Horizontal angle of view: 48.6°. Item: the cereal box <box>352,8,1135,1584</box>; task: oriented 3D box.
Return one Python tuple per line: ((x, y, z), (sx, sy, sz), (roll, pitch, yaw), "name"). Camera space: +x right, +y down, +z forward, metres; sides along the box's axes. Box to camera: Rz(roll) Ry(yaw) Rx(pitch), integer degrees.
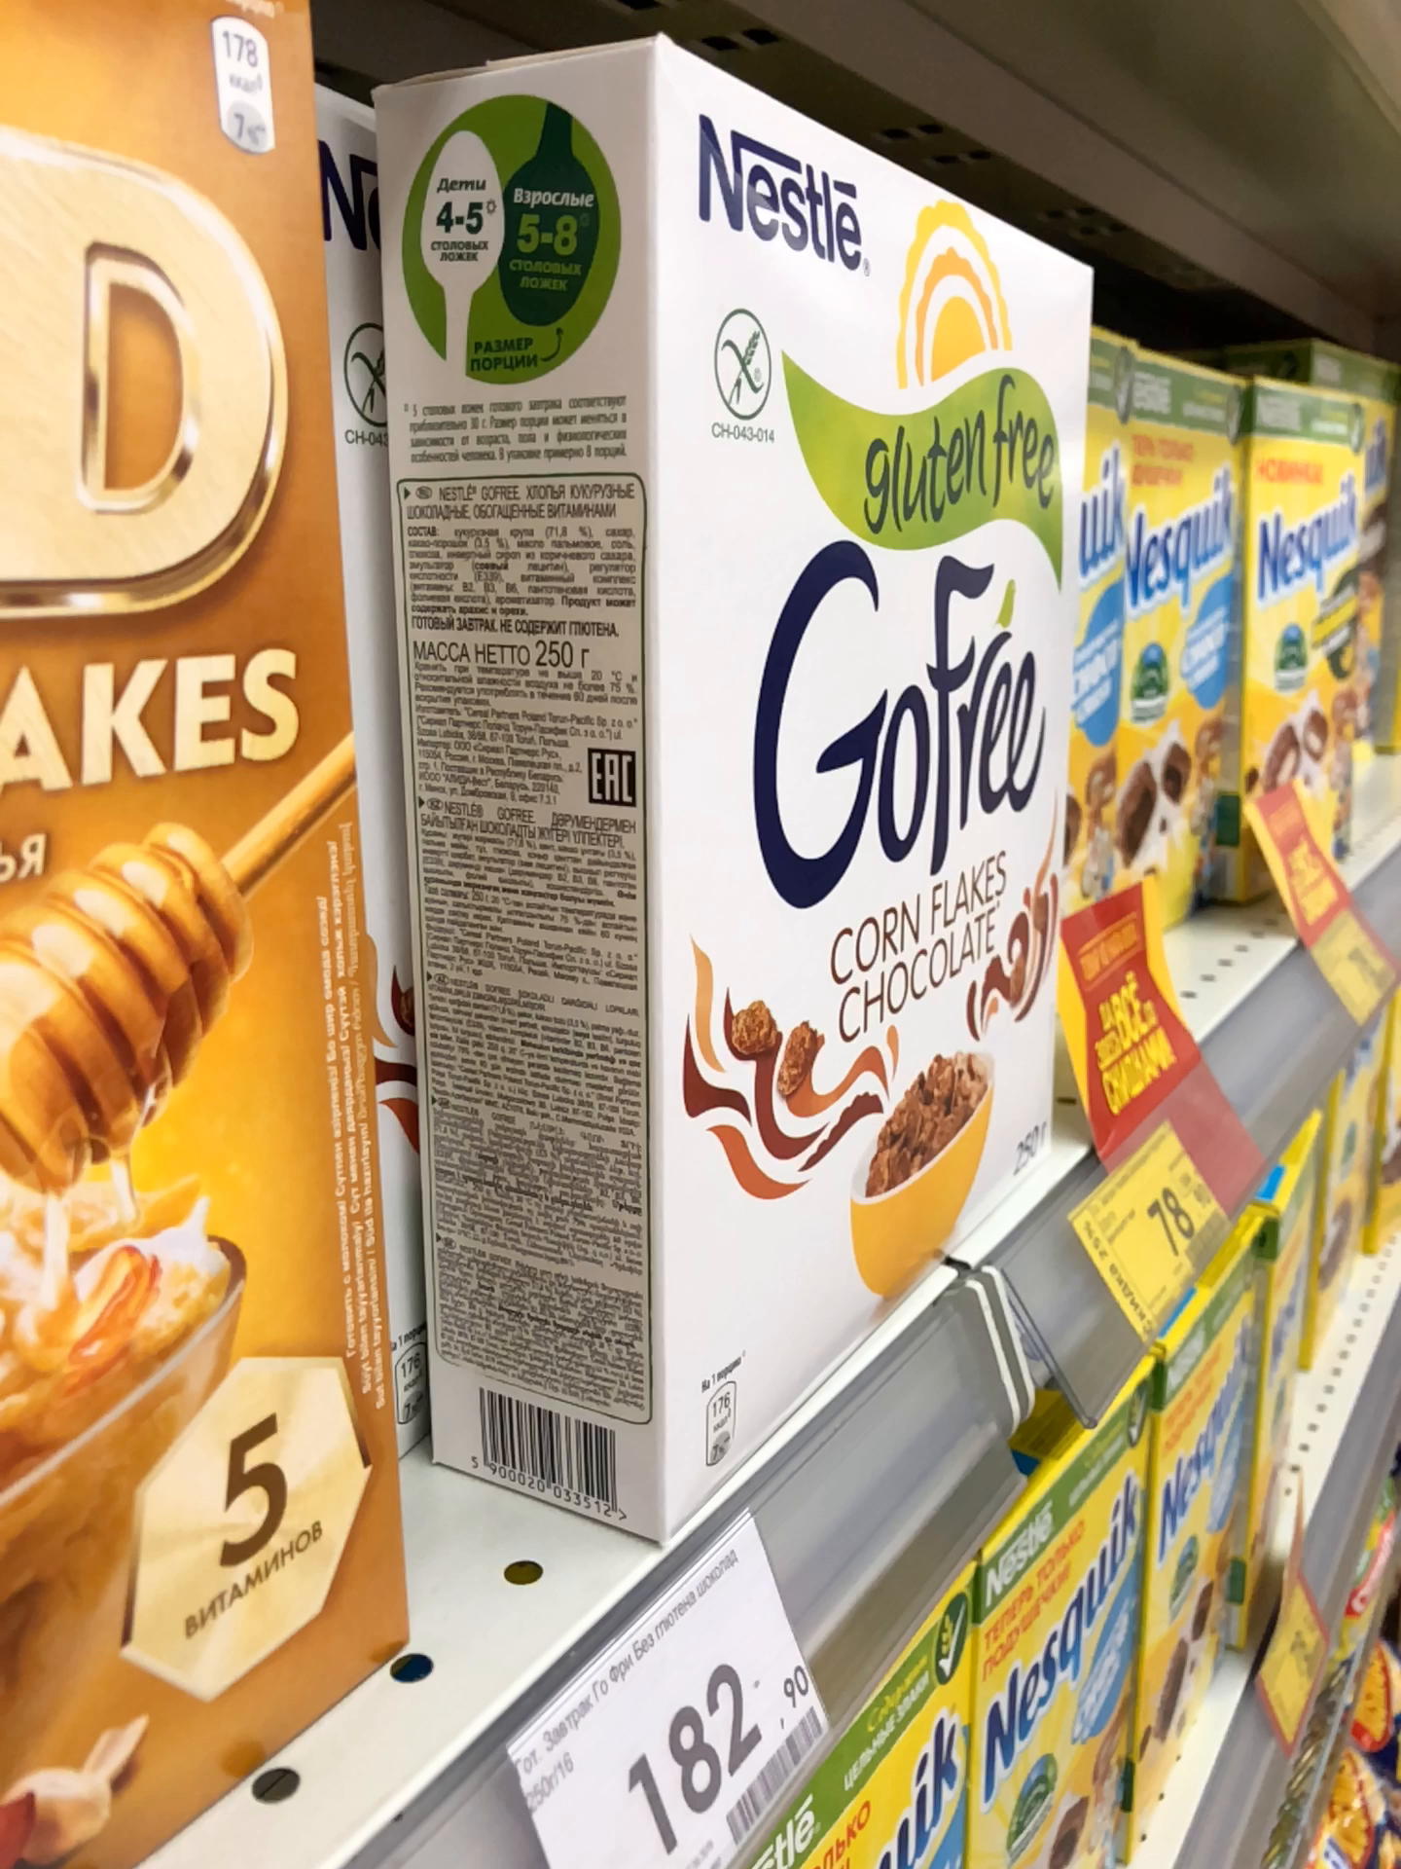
((0.026, -0.030, 0.311), (0.050, 0.219, 0.201), (7, 15, 31), "cereal box")
